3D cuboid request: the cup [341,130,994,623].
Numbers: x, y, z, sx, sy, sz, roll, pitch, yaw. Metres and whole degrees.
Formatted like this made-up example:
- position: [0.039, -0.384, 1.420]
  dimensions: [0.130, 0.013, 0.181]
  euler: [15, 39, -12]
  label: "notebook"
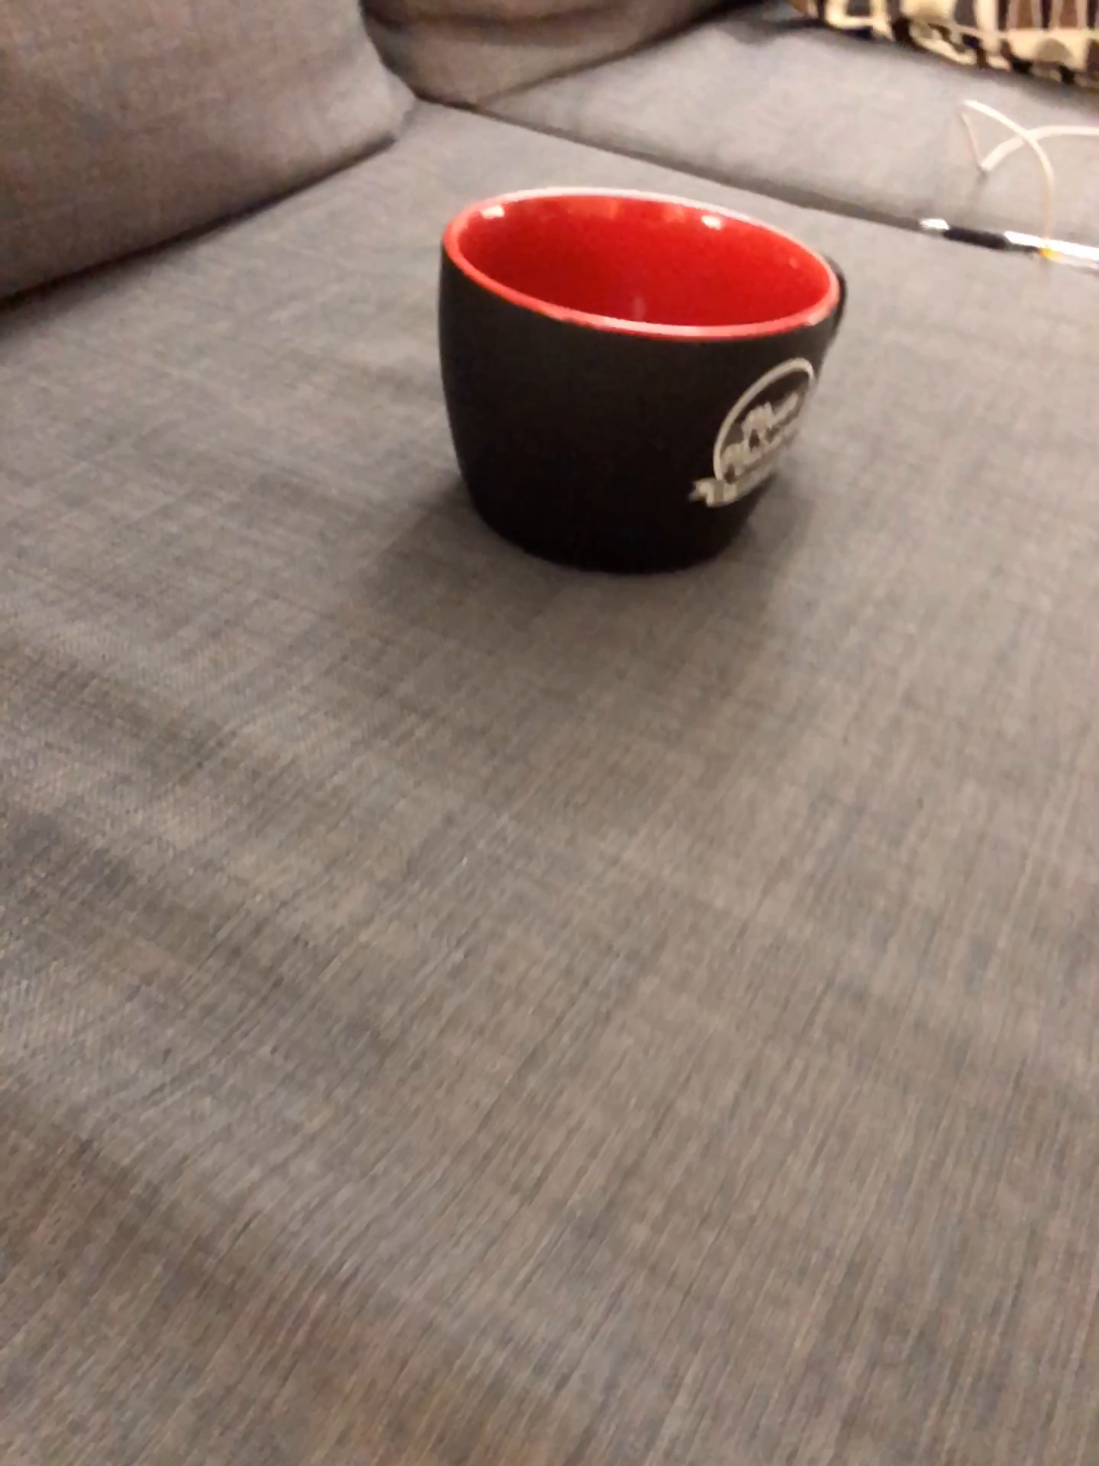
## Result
- position: [0.036, -0.125, 0.395]
  dimensions: [0.160, 0.080, 0.120]
  euler: [-28, 51, -33]
  label: "cup"
